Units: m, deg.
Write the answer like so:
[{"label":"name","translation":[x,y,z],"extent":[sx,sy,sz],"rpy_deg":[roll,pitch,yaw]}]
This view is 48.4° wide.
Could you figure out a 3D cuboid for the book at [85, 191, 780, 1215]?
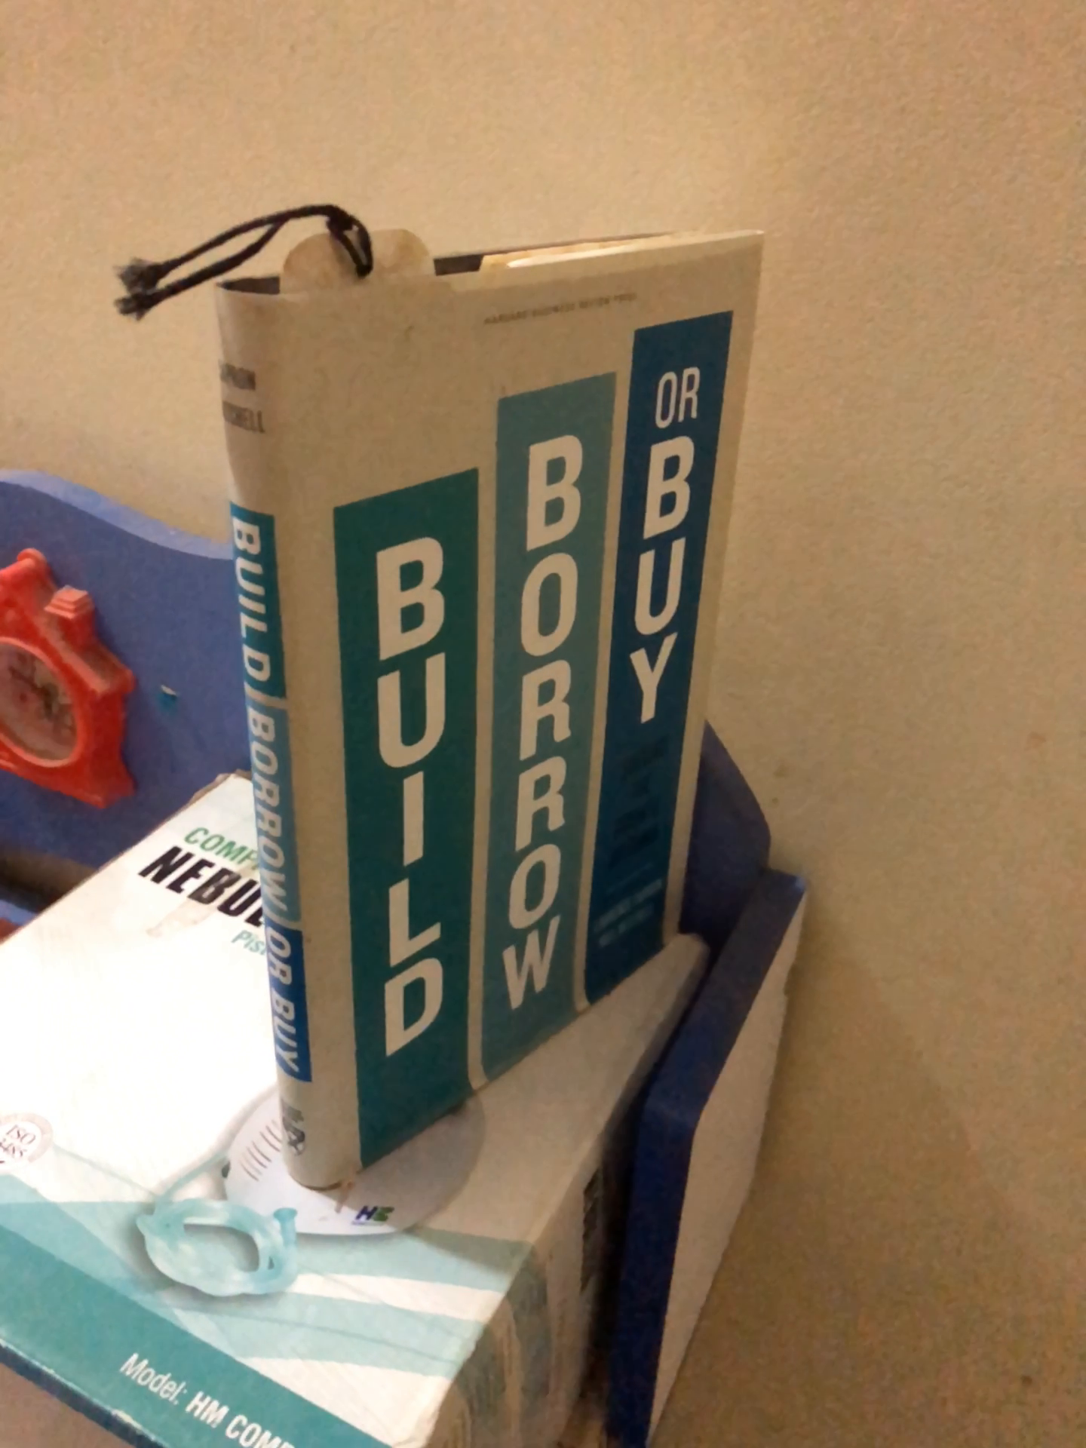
[{"label":"book","translation":[-0.014,-0.011,0.337],"extent":[0.040,0.239,0.181],"rpy_deg":[25,37,36]}]
